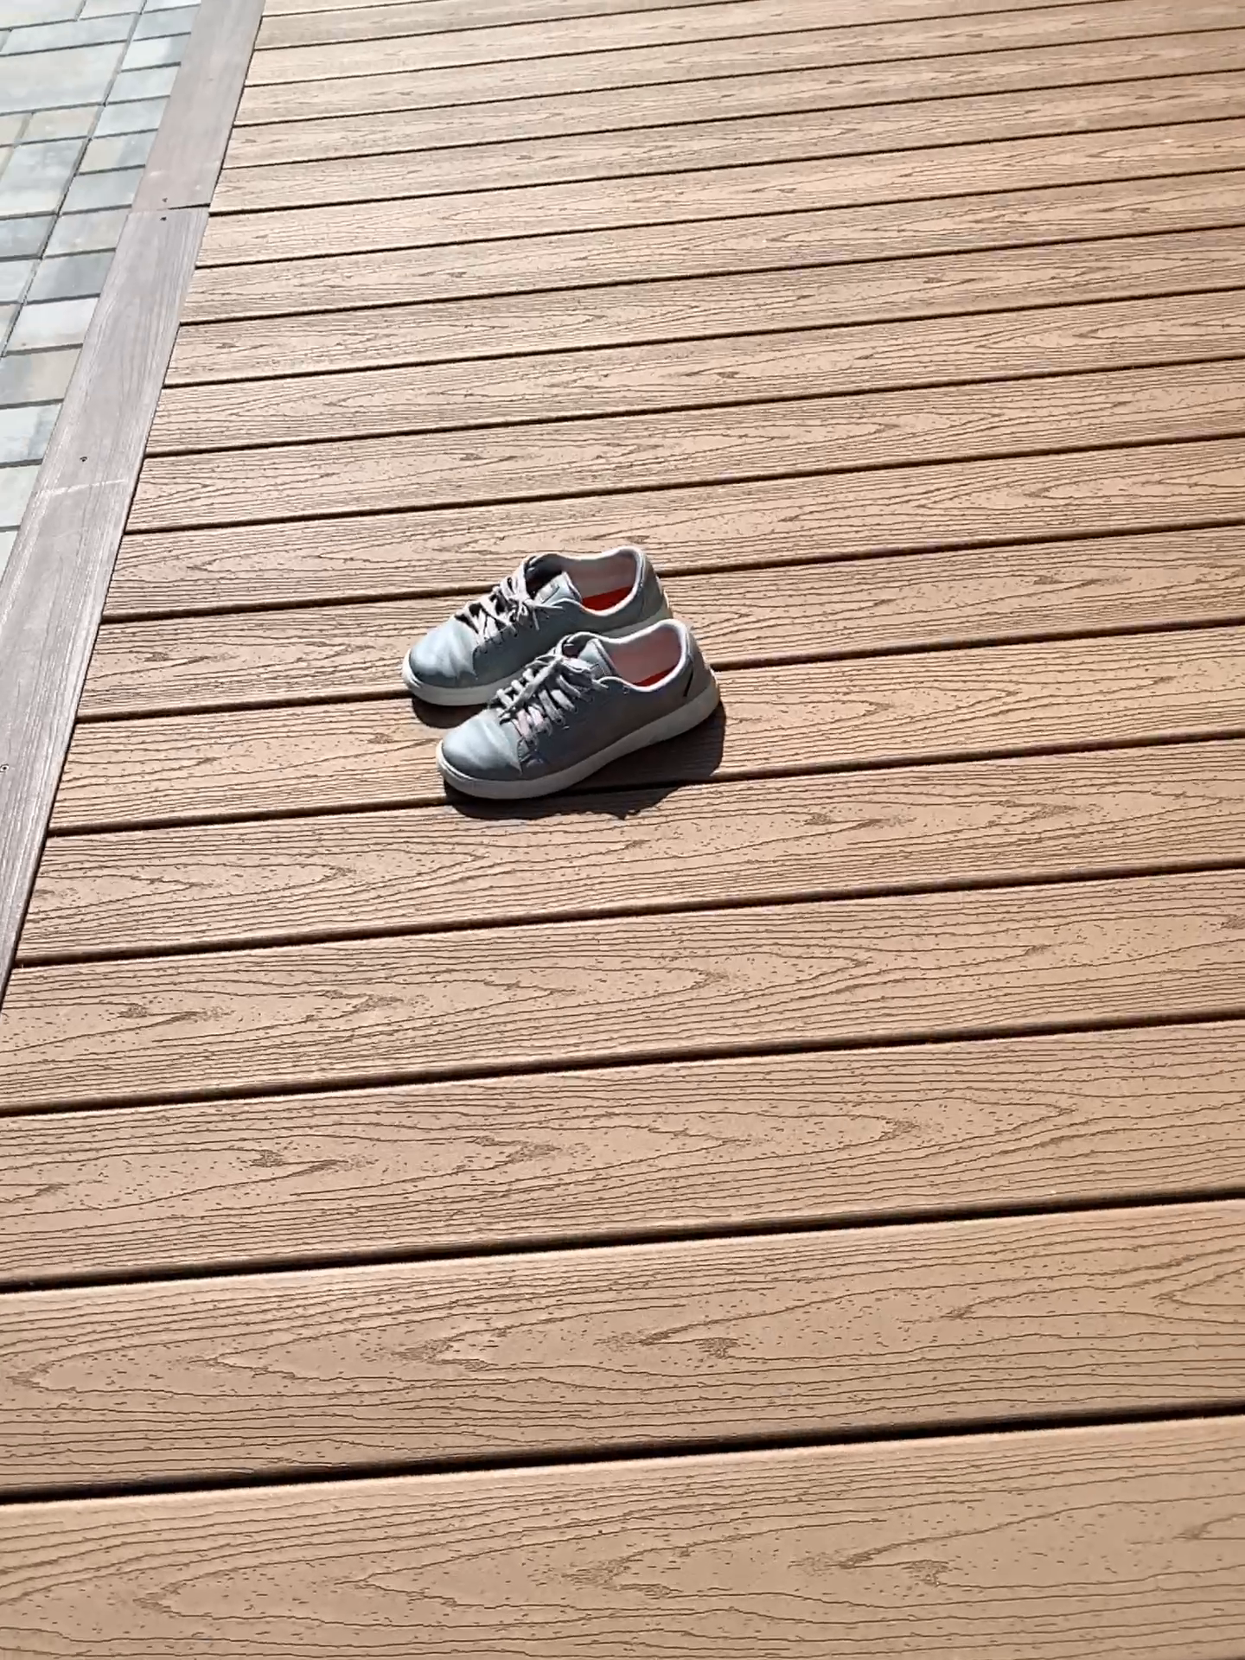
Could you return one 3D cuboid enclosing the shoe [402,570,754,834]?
[{"bbox_3d":[-0.038,-0.120,1.165,0.290,0.100,0.121,-20,54,-11],"label":"shoe"}]

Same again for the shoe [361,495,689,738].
[{"bbox_3d":[-0.090,-0.207,1.217,0.280,0.100,0.121,-20,54,-10],"label":"shoe"}]
